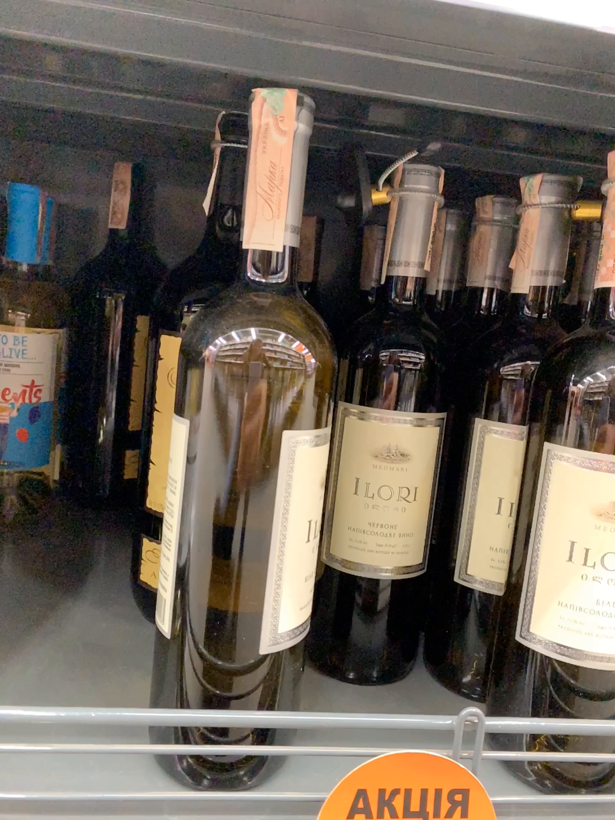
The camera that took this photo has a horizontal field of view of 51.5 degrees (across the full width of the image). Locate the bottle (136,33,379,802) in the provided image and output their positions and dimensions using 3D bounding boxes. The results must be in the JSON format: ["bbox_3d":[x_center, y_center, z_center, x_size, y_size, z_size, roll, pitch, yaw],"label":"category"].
[{"bbox_3d":[-0.026,0.013,0.299,0.069,0.319,0.070,6,9,-1],"label":"bottle"}]
